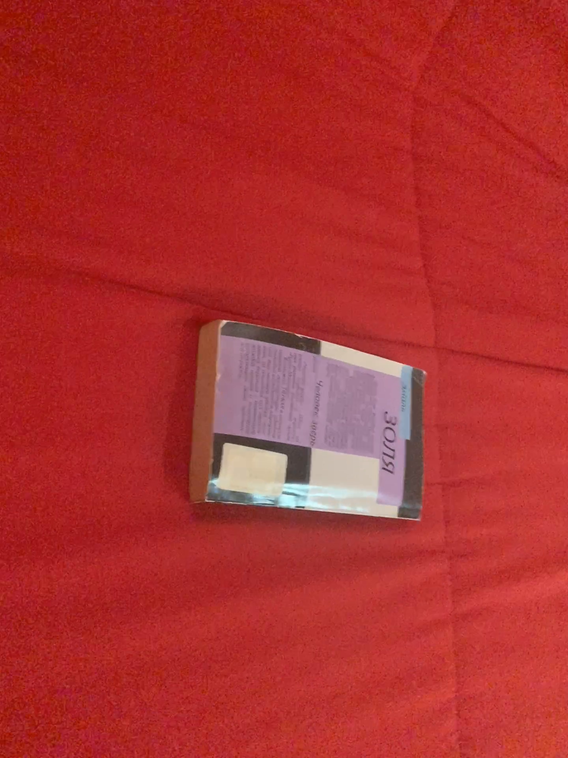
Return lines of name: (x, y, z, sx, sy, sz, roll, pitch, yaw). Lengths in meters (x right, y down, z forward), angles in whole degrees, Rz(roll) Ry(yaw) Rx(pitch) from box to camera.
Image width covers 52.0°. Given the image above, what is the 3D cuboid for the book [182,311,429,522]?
book: (0.024, 0.032, 0.381, 0.171, 0.033, 0.109, 13, 73, -33)
